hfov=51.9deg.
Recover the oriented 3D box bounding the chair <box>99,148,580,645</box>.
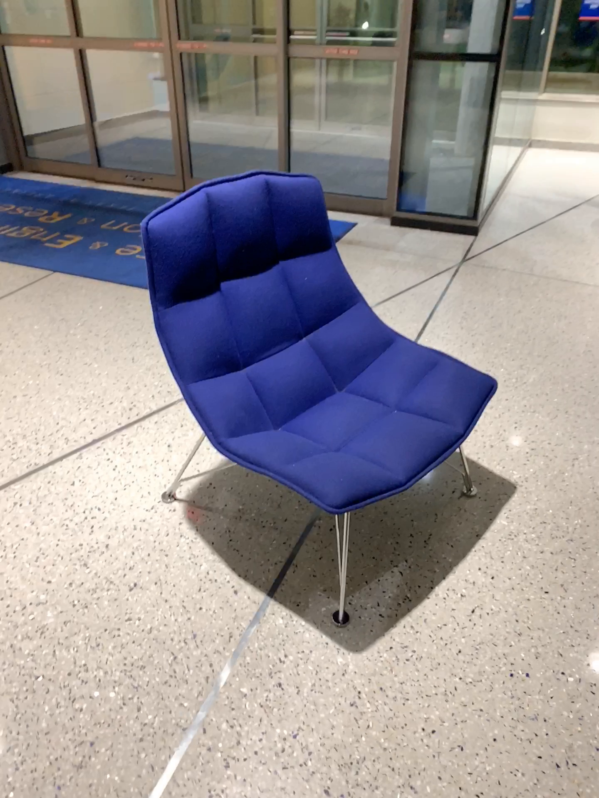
[{"bbox_3d":[0.109,-0.112,1.718,0.797,0.893,0.858,27,41,35],"label":"chair"}]
